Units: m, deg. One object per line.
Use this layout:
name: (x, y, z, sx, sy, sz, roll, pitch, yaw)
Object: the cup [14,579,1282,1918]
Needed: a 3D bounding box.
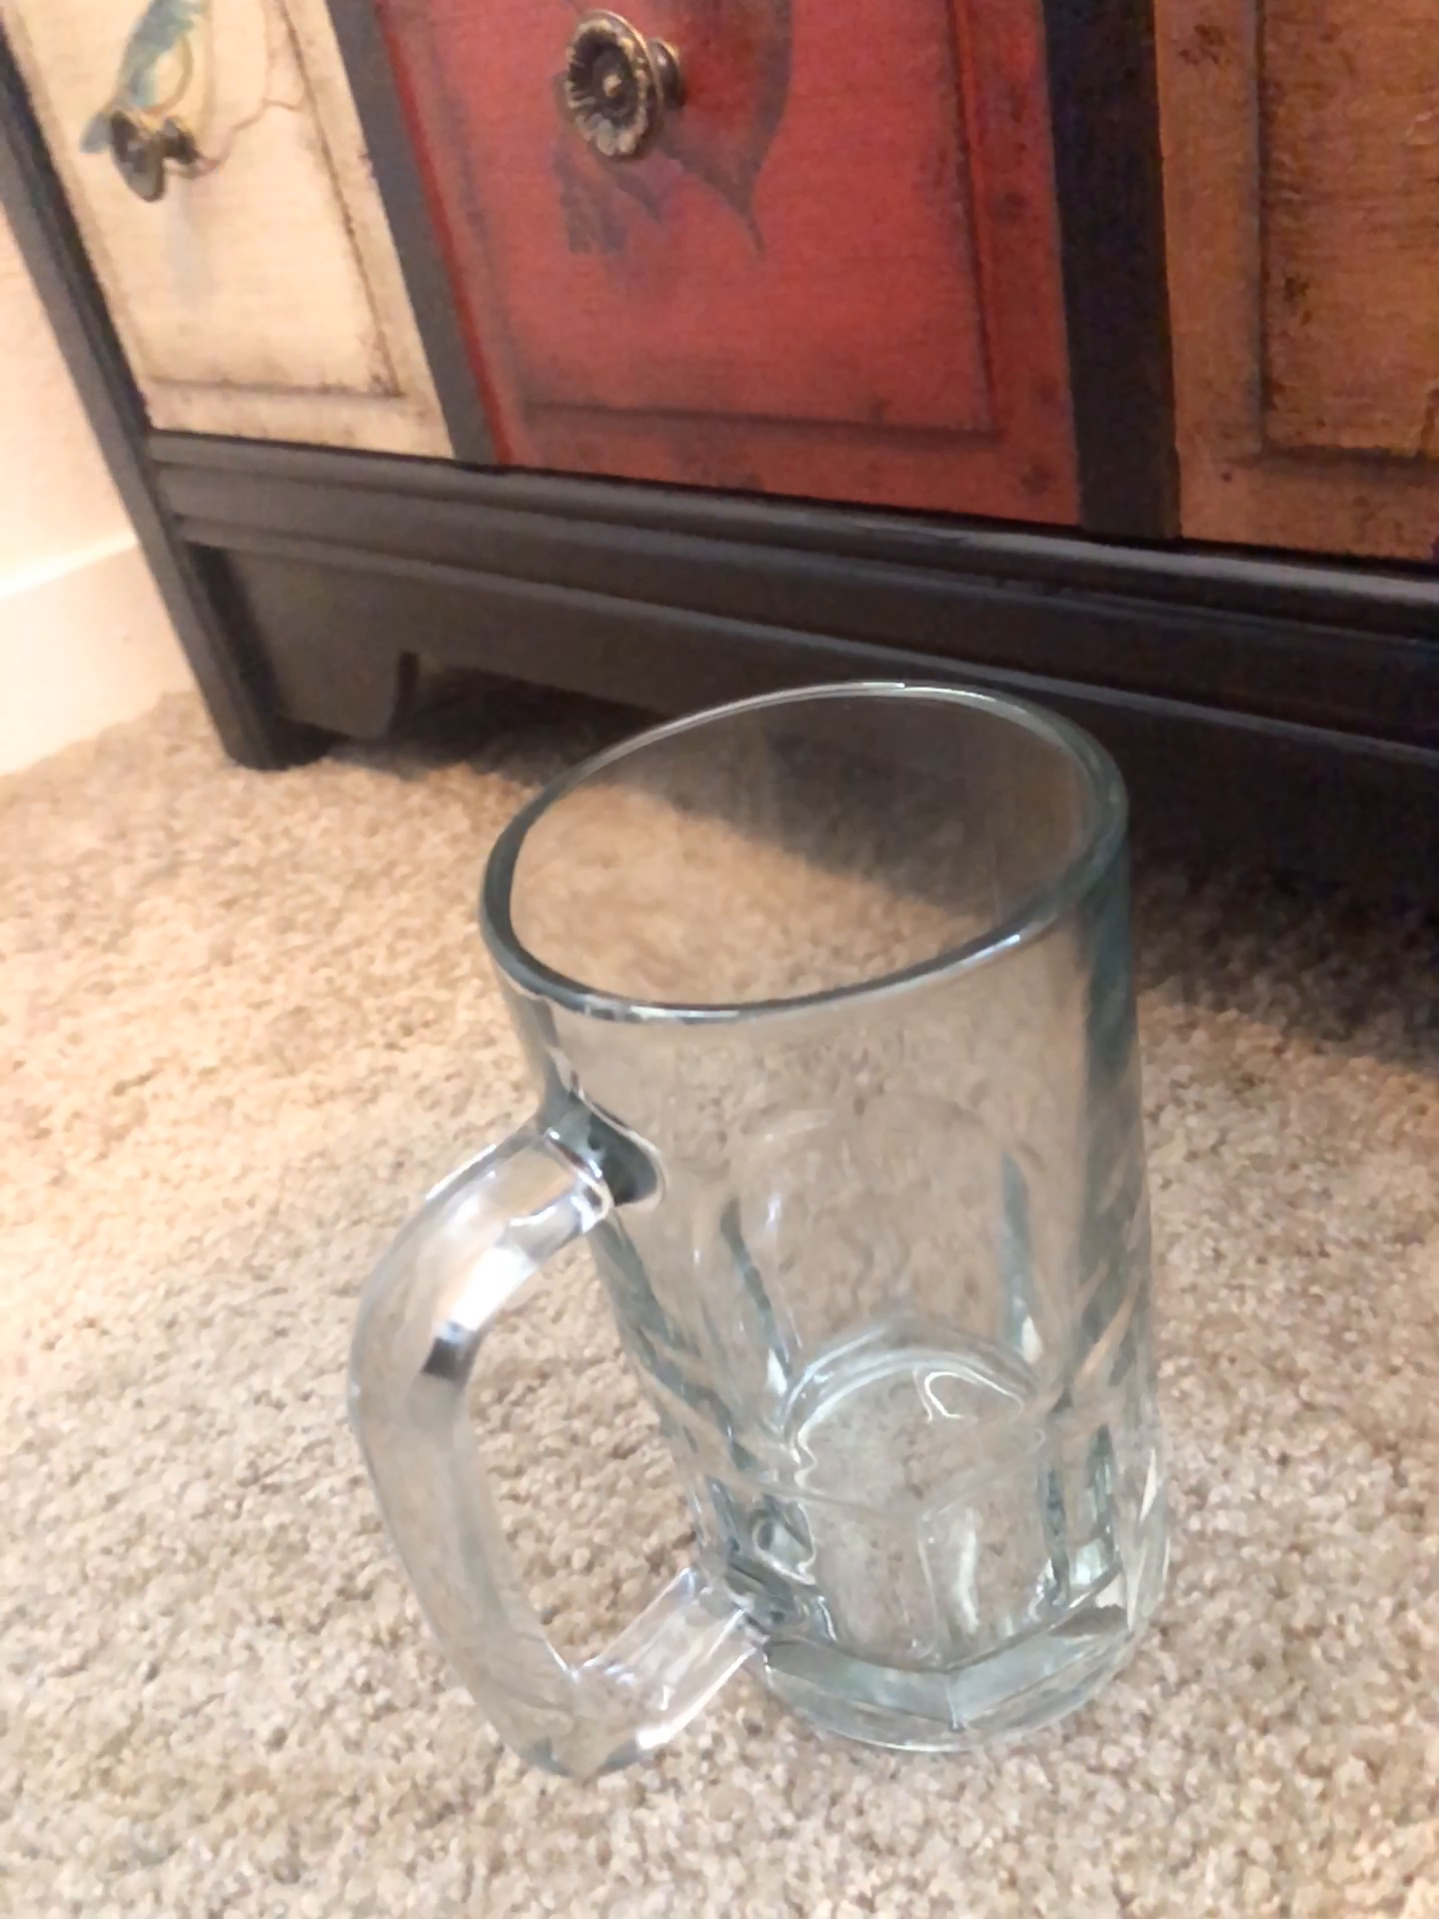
cup: (0.005, 0.047, 0.245, 0.097, 0.156, 0.134, 23, 45, 40)
